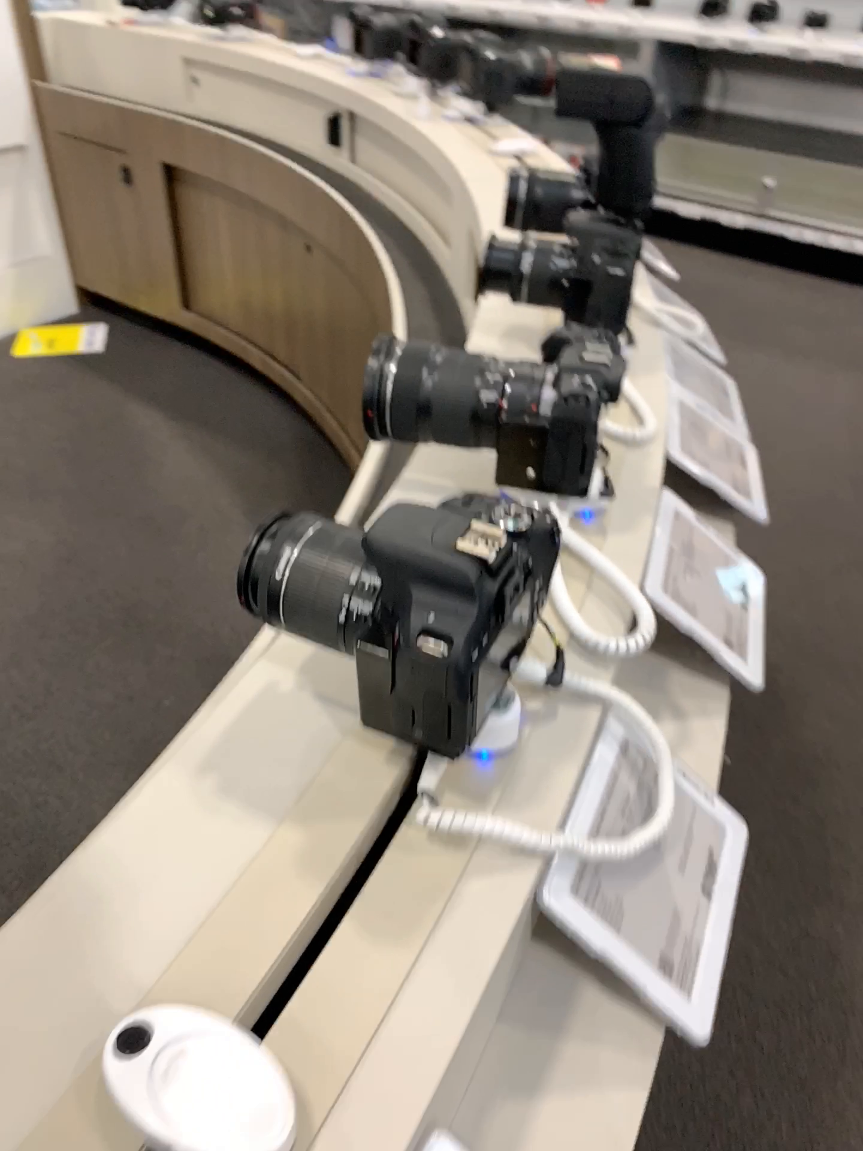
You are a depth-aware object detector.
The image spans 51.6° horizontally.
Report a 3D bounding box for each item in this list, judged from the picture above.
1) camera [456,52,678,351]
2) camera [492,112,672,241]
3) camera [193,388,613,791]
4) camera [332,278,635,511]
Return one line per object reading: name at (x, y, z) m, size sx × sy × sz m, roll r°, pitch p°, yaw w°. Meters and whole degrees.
camera at (0.126, -0.358, 0.852) m, size 0.170 × 0.219 × 0.151 m, roll 9°, pitch 38°, yaw 9°
camera at (0.176, -0.480, 1.069) m, size 0.190 × 0.099 × 0.141 m, roll 6°, pitch 38°, yaw 5°
camera at (-0.010, -0.002, 0.500) m, size 0.170 × 0.119 × 0.151 m, roll 16°, pitch 40°, yaw 18°
camera at (0.043, -0.144, 0.685) m, size 0.200 × 0.099 × 0.141 m, roll 10°, pitch 39°, yaw 10°
